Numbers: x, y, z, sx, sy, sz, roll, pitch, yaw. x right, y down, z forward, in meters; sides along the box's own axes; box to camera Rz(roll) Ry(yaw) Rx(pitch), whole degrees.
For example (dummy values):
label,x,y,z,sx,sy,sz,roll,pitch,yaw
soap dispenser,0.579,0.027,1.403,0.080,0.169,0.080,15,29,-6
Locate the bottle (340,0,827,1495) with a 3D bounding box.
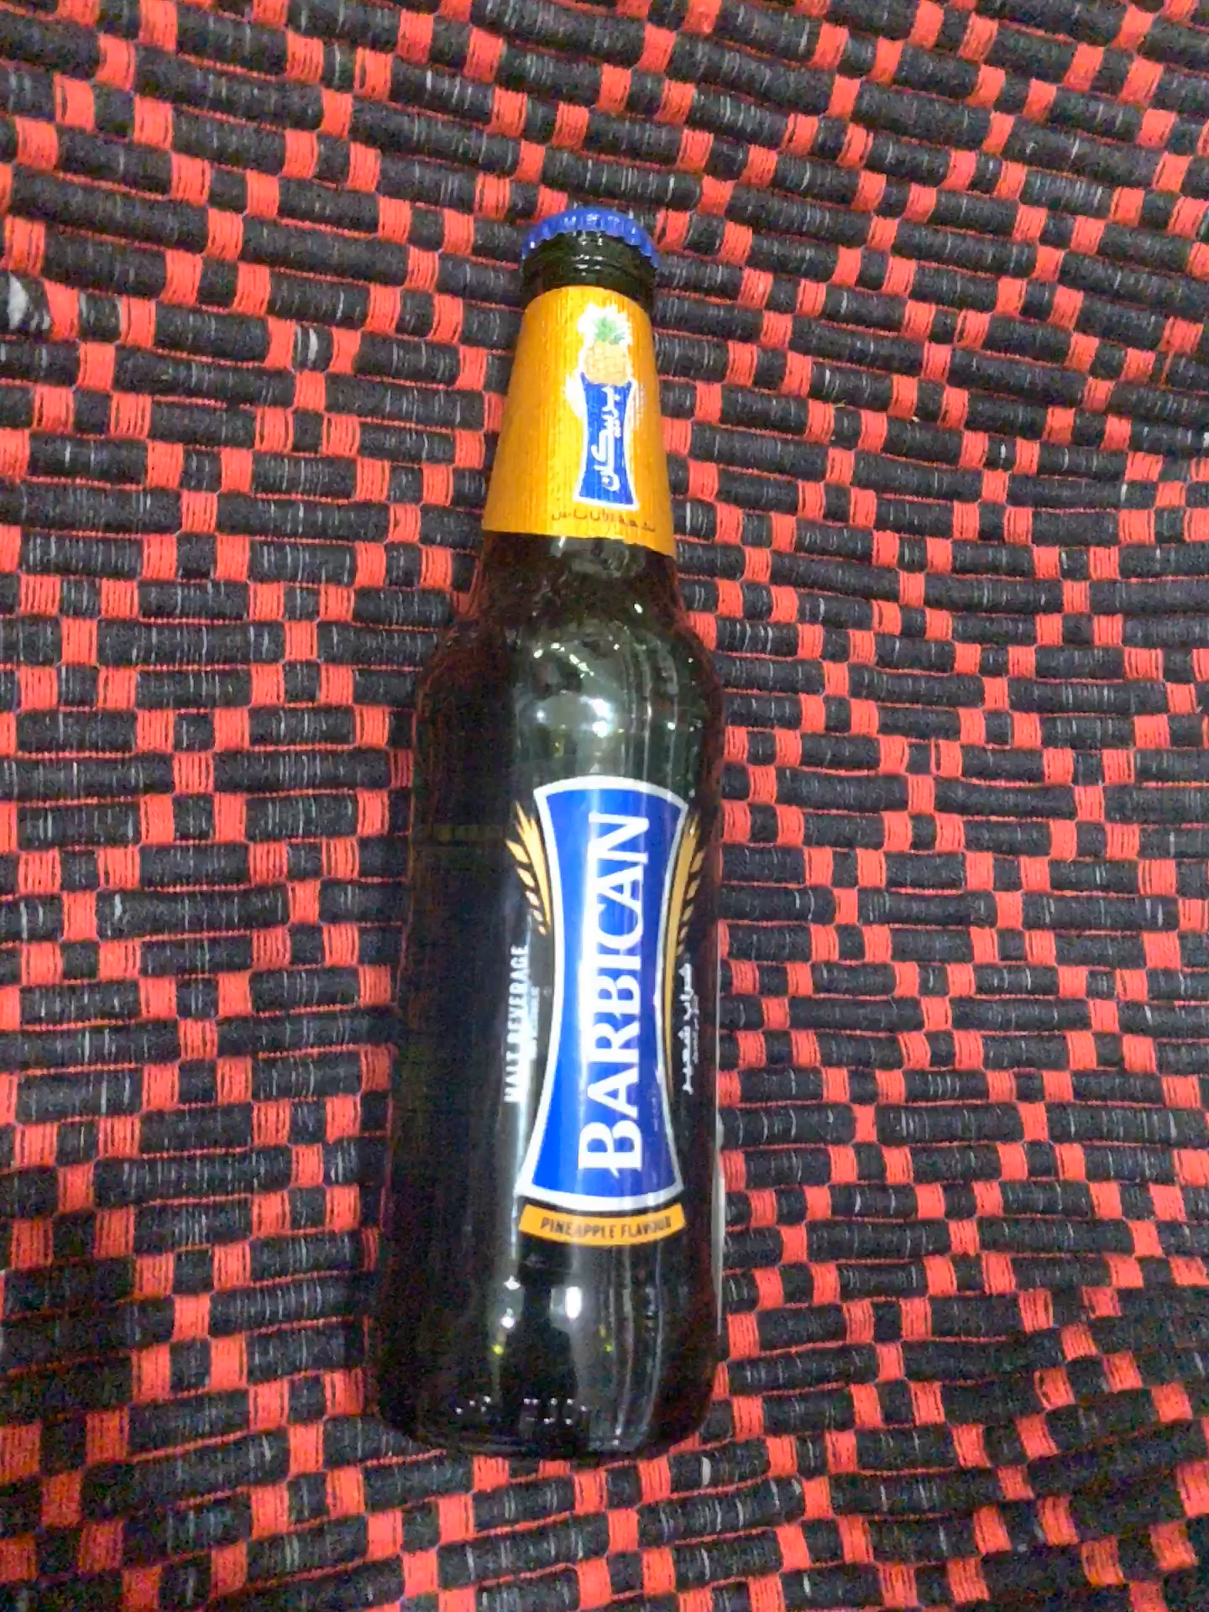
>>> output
label,x,y,z,sx,sy,sz,roll,pitch,yaw
bottle,-0.008,-0.018,0.239,0.060,0.070,0.250,6,73,-20
